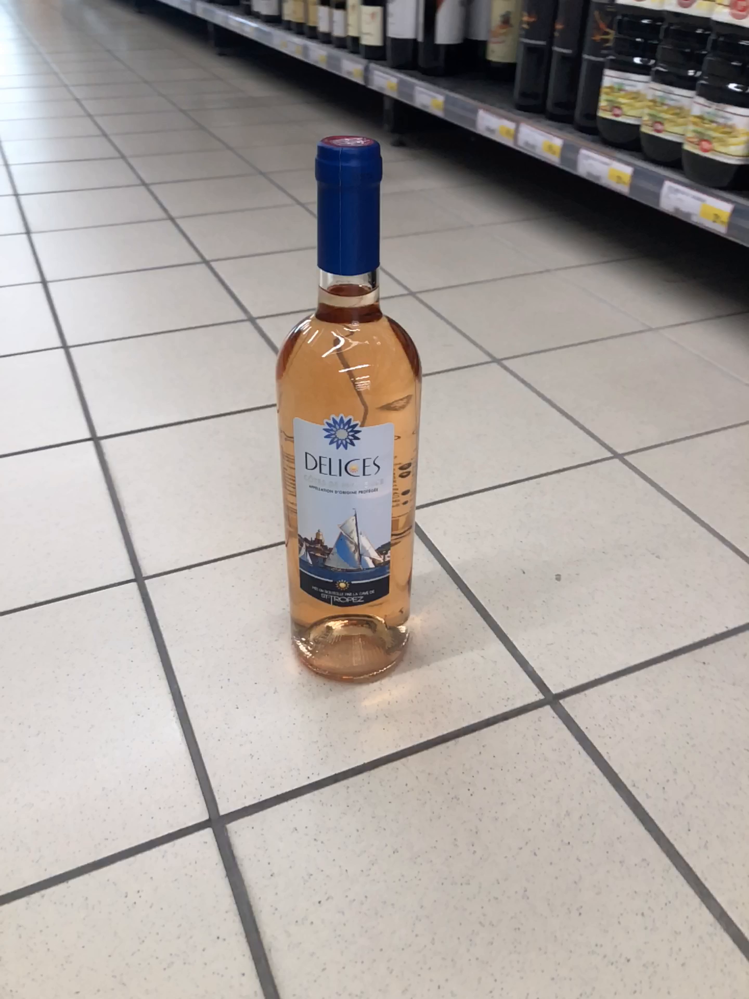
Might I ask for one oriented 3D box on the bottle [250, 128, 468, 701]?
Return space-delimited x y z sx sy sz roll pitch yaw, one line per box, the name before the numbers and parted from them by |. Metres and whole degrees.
bottle | -0.005 -0.030 0.433 0.080 0.288 0.081 1 34 0
